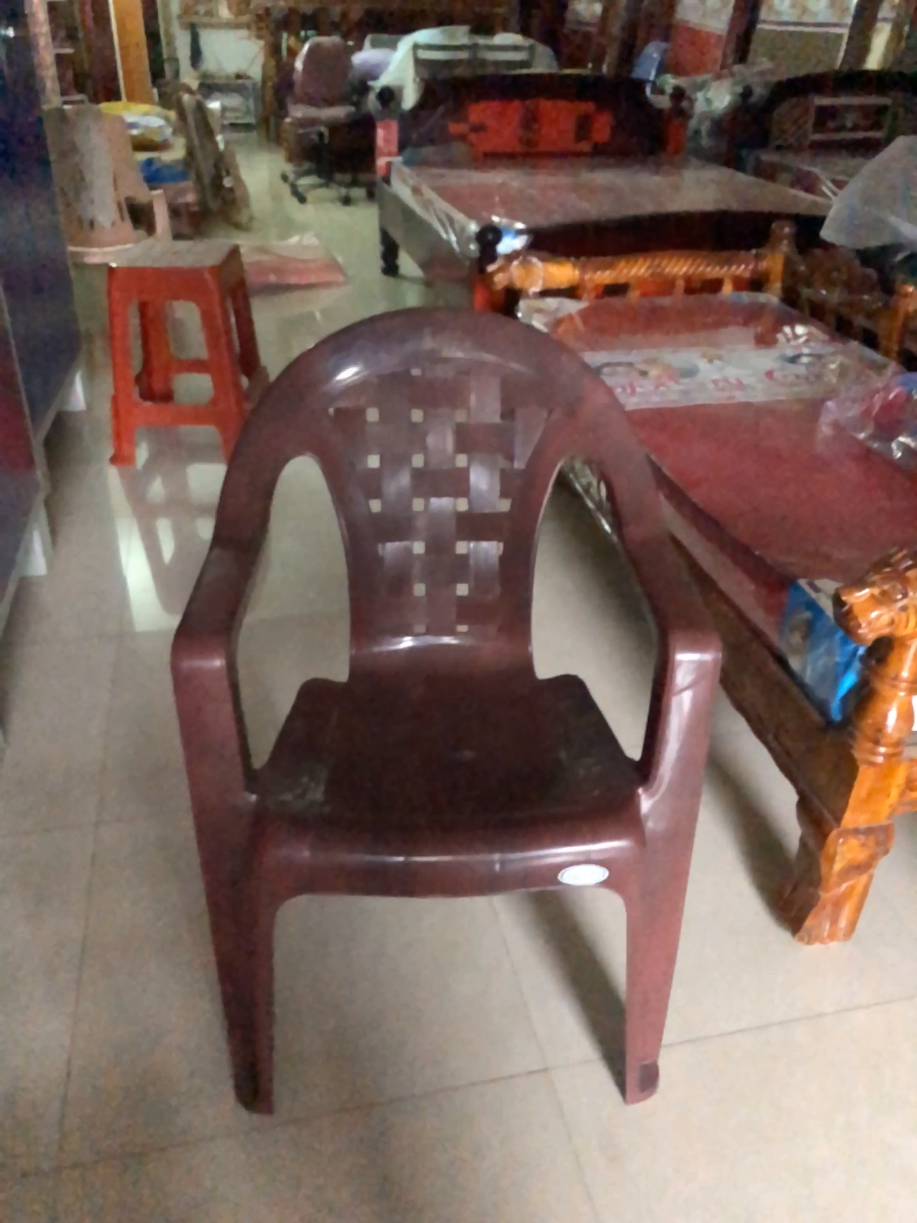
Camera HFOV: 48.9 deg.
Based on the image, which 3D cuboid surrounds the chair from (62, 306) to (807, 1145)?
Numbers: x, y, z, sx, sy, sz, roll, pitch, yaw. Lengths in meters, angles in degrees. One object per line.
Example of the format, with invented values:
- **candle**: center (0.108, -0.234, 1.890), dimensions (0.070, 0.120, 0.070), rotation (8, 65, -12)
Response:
- **chair**: center (-0.040, 0.114, 1.285), dimensions (0.600, 0.836, 0.613), rotation (-2, 31, -5)
